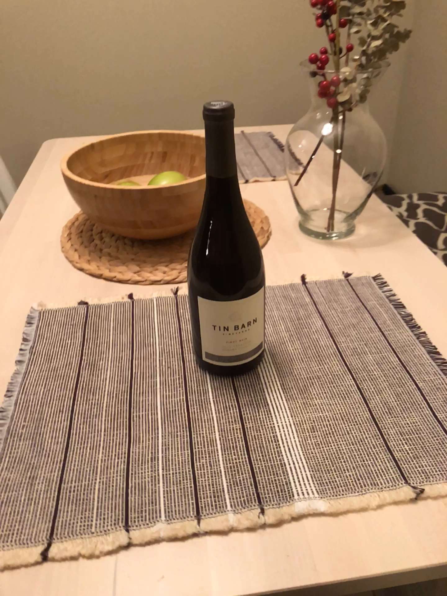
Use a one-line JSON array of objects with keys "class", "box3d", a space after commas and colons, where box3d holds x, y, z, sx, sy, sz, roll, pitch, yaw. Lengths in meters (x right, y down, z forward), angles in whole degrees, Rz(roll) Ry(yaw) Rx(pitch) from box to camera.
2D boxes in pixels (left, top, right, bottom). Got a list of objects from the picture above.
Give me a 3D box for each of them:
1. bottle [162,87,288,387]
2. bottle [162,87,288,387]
[{"class": "bottle", "box3d": [0.001, -0.055, 0.519, 0.090, 0.288, 0.101, -9, 34, -11]}, {"class": "bottle", "box3d": [0.001, -0.055, 0.519, 0.090, 0.288, 0.101, -9, 34, -11]}]
